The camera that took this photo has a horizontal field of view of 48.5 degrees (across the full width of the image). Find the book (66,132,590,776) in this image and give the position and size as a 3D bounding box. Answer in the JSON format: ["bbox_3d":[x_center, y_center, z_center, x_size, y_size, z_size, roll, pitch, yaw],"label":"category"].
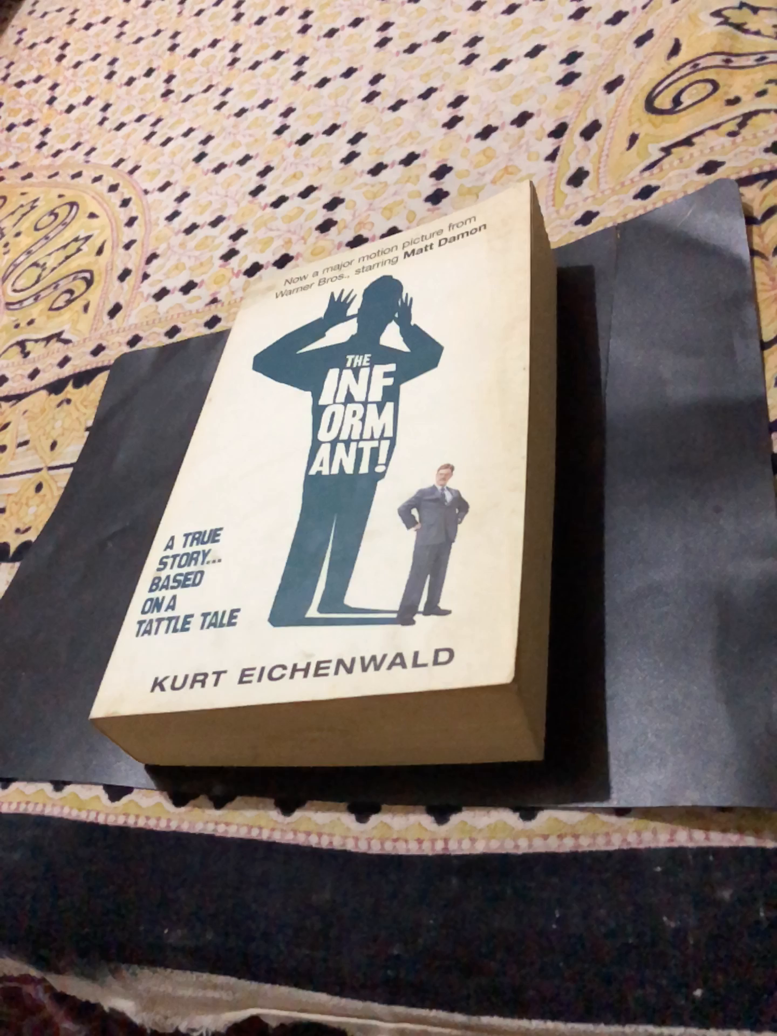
[{"bbox_3d":[-0.005,-0.031,0.308,0.140,0.050,0.230,-9,50,25],"label":"book"}]
